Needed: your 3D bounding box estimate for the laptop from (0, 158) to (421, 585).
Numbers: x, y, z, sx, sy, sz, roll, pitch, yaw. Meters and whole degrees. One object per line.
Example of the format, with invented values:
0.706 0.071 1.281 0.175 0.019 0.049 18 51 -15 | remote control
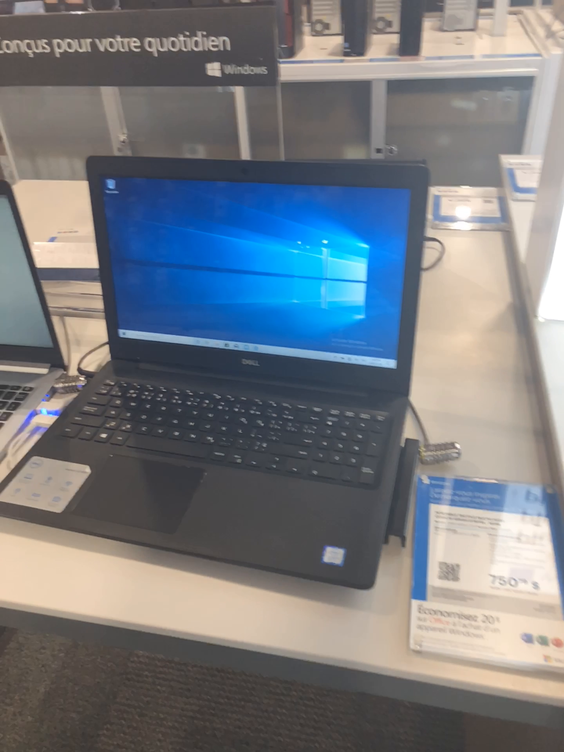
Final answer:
-0.074 -0.039 0.593 0.368 0.230 0.311 7 37 14 | laptop
